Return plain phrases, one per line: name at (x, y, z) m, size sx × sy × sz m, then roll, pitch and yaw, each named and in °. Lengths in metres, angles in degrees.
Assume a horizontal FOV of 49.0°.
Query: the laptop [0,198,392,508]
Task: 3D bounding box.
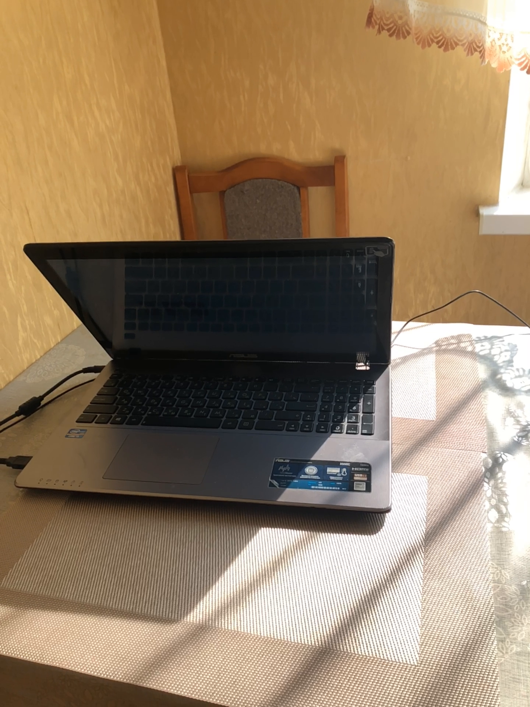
laptop at (-0.059, -0.019, 0.591) m, size 0.362 × 0.200 × 0.246 m, roll 1°, pitch 29°, yaw 12°
